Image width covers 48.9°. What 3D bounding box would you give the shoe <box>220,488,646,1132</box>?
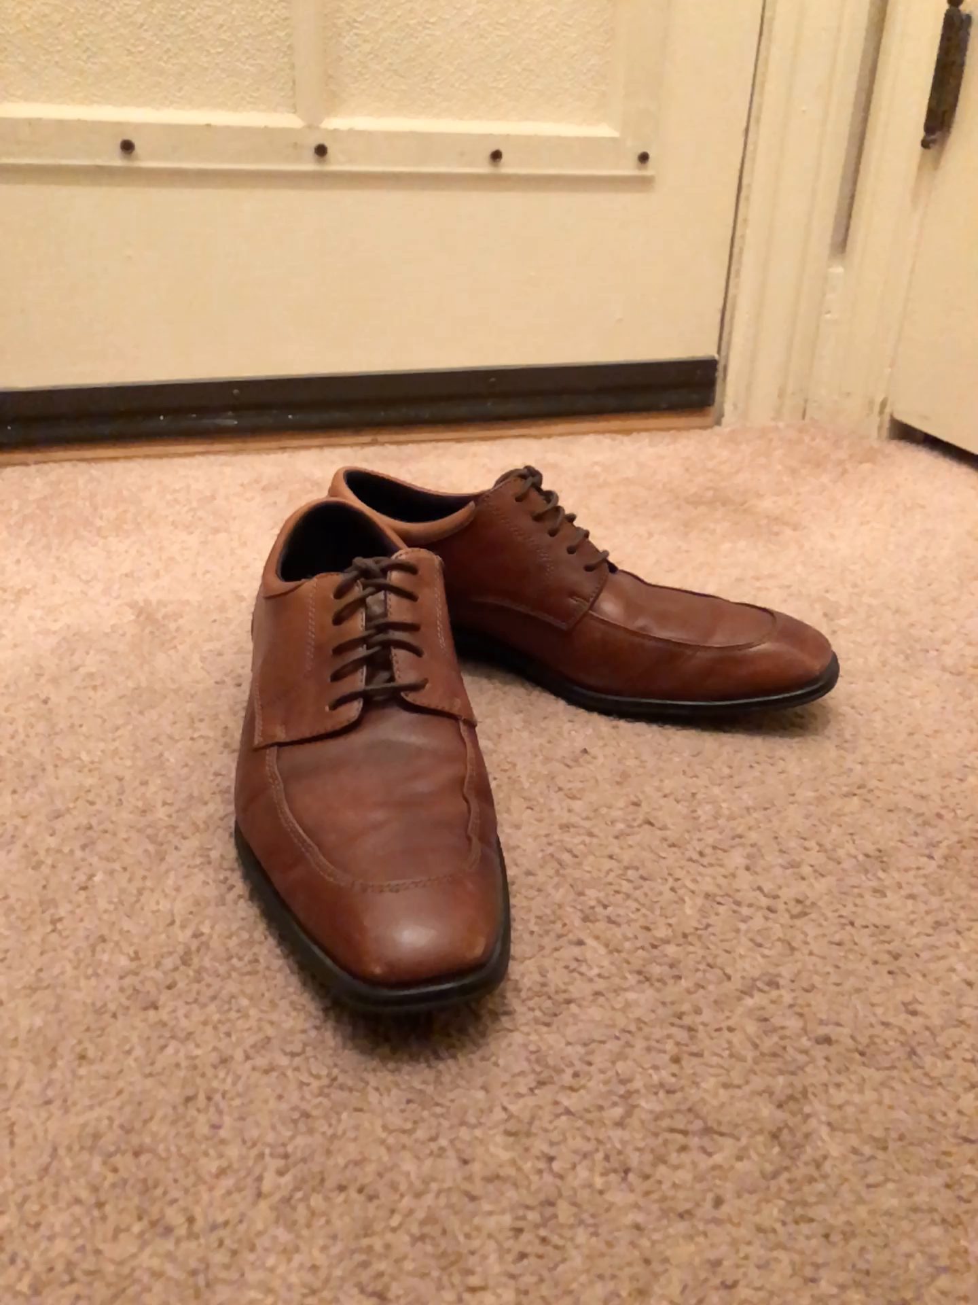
[{"bbox_3d":[-0.048,0.035,0.478,0.120,0.119,0.302,-5,28,-14],"label":"shoe"}]

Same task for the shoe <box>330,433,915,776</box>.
[{"bbox_3d":[0.069,-0.038,0.607,0.300,0.109,0.101,12,28,19],"label":"shoe"}]
